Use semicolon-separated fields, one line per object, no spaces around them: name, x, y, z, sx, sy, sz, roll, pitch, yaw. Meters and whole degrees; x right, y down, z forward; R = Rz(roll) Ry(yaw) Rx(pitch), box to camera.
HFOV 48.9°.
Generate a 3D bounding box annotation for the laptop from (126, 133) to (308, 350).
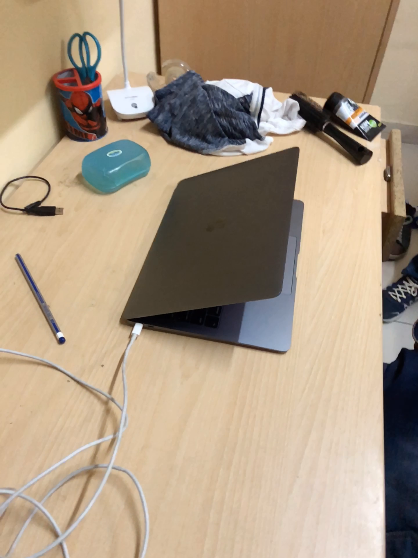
laptop;0.028;-0.069;0.639;0.192;0.094;0.296;10;48;5
